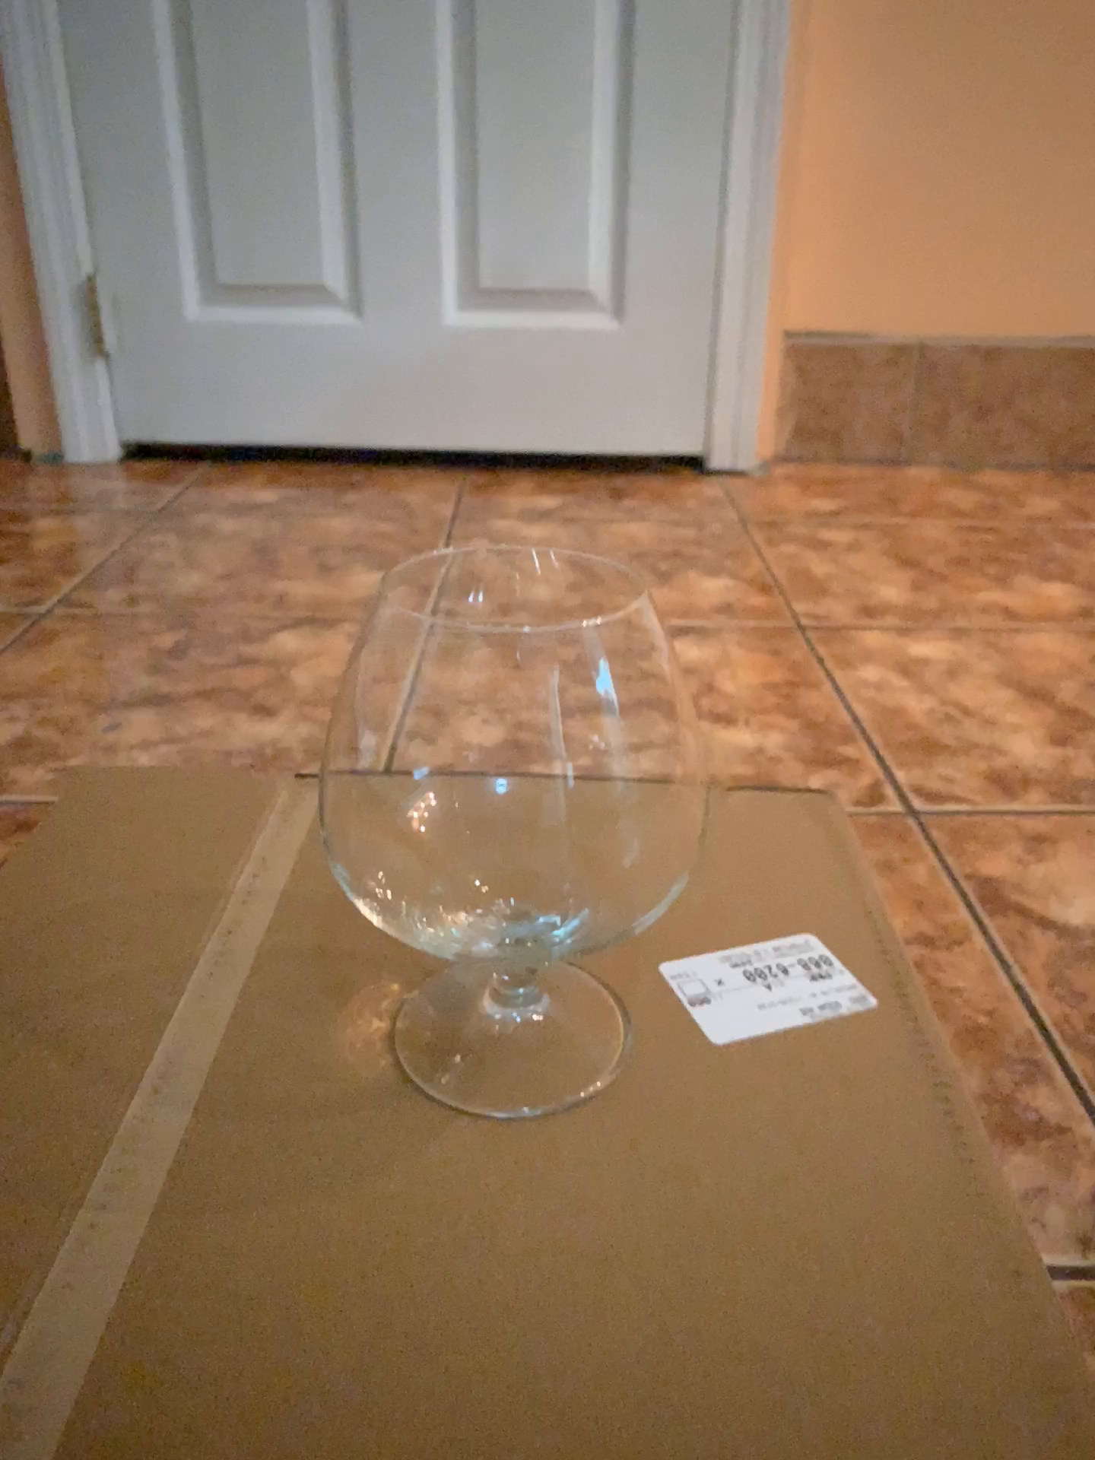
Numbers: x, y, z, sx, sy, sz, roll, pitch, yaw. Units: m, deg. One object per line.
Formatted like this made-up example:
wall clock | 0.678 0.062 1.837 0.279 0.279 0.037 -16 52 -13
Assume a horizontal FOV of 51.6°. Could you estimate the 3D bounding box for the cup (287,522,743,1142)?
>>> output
cup | -0.010 0.028 0.333 0.105 0.158 0.085 0 24 -3
